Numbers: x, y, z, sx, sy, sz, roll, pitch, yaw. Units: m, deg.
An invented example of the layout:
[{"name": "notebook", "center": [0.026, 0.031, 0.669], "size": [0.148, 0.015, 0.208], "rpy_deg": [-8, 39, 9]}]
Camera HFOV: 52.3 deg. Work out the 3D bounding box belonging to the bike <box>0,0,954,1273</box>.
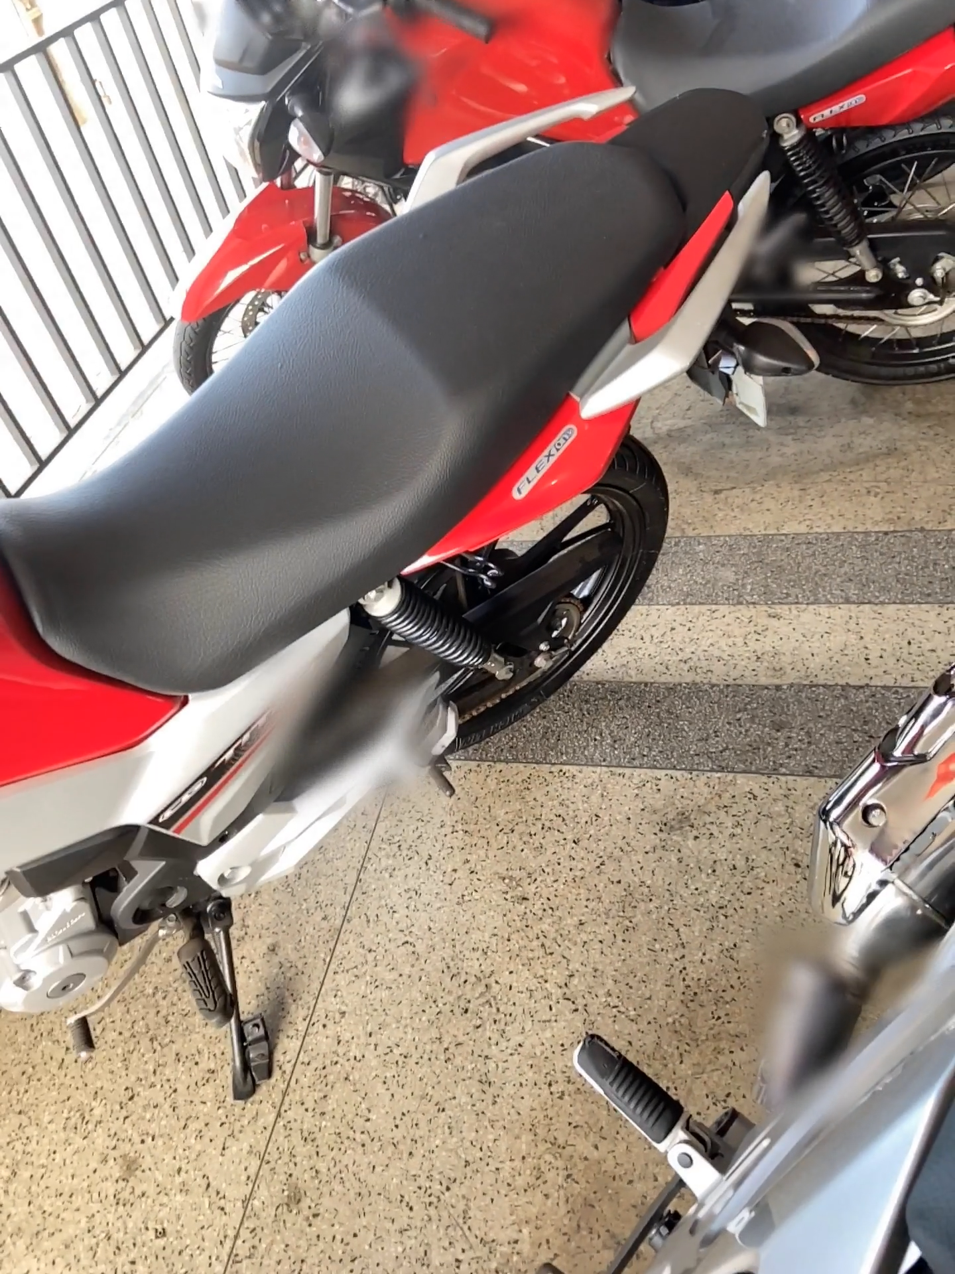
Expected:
[{"name": "bike", "center": [-0.415, 0.256, 0.983], "size": [1.994, 1.422, 0.871], "rpy_deg": [-39, 46, -20]}]
